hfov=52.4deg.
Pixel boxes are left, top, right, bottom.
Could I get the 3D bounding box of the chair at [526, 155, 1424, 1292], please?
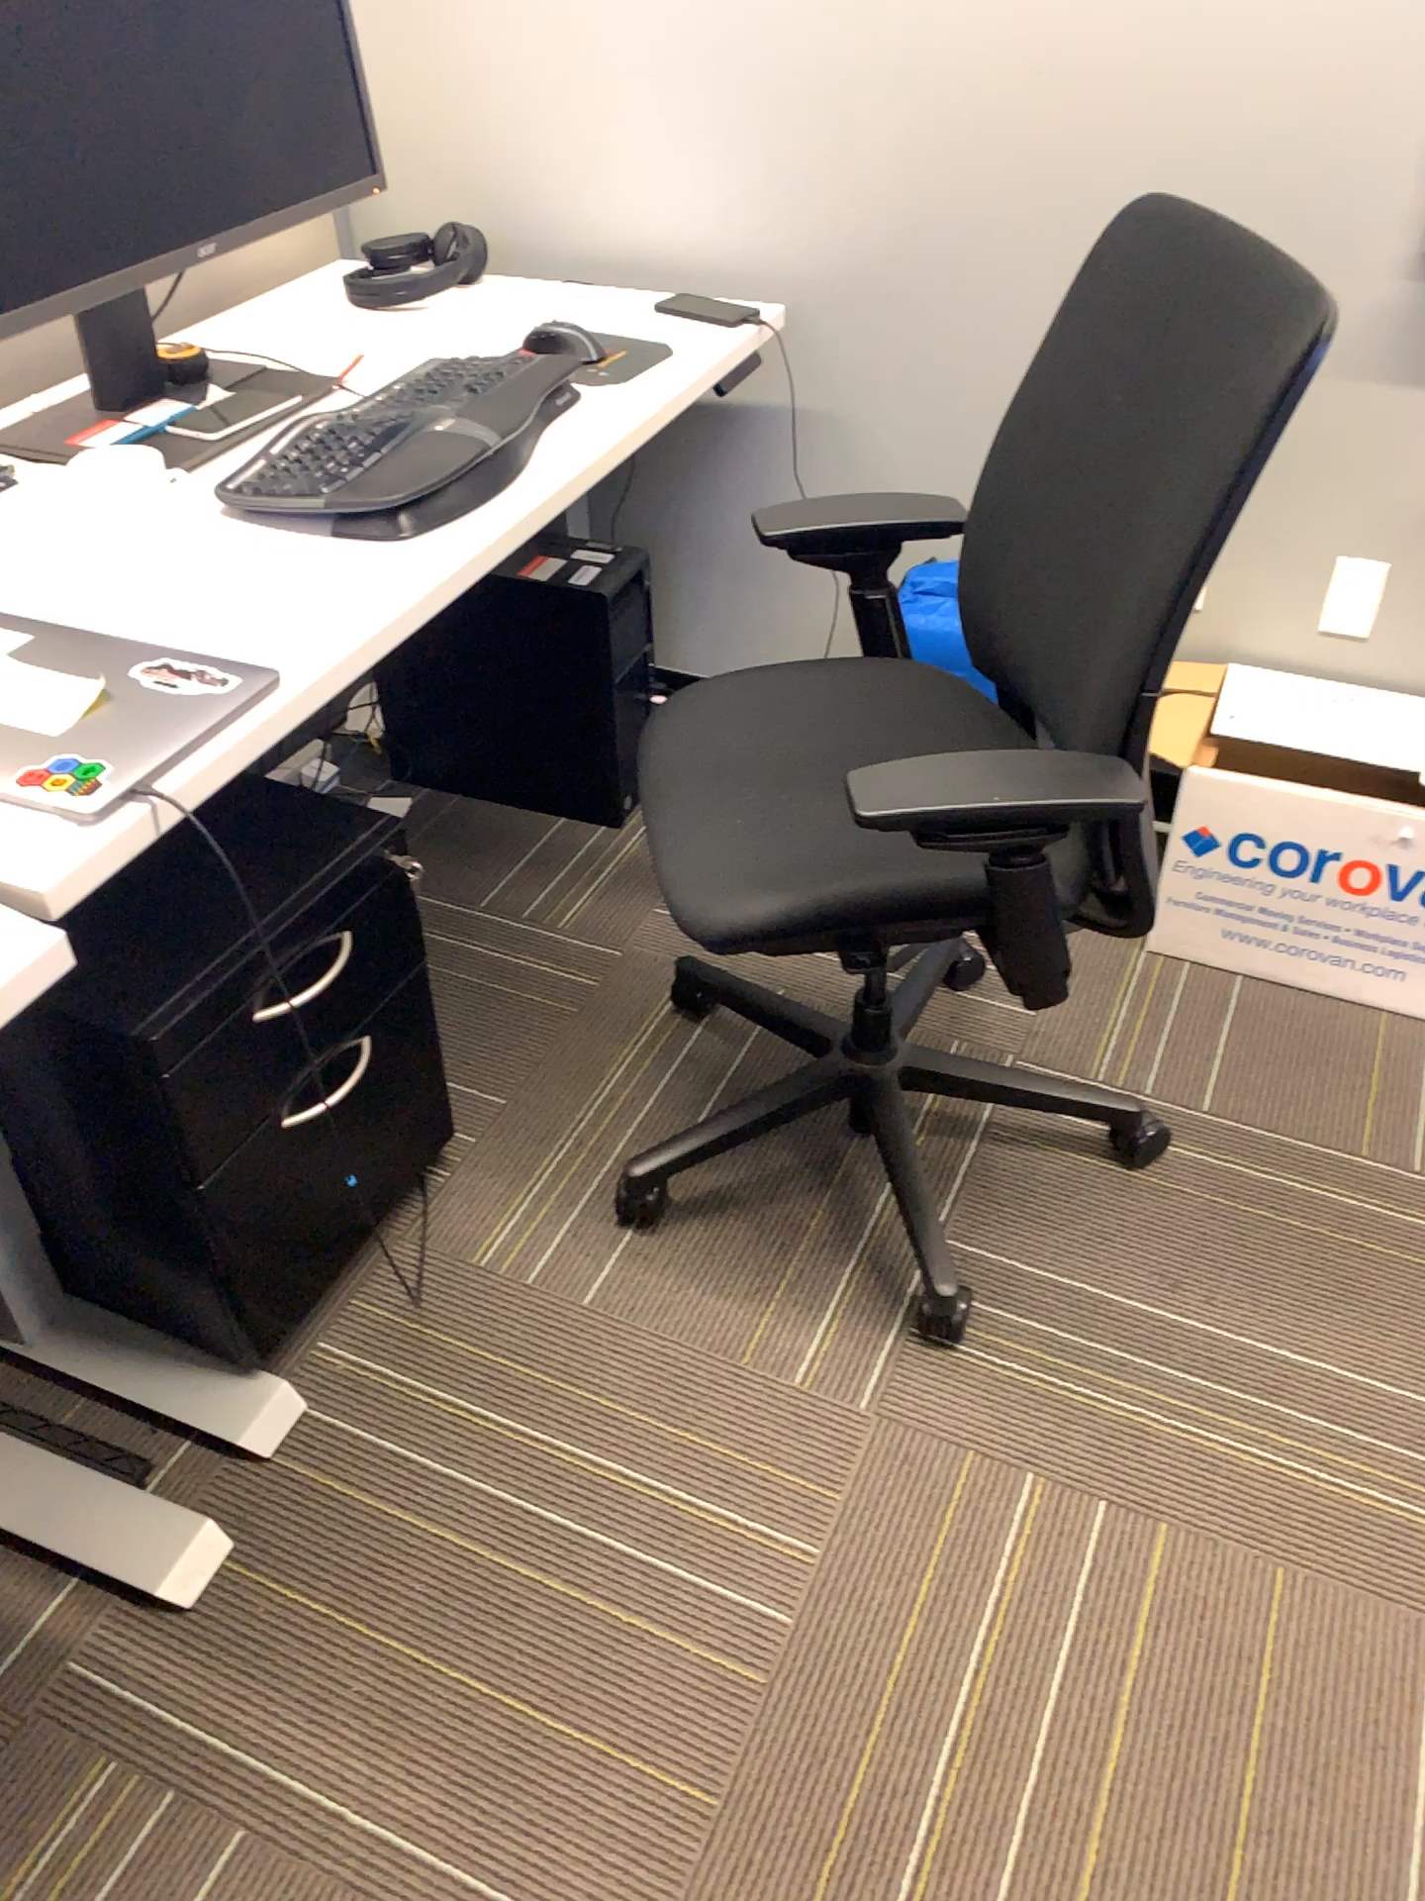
[{"bbox_3d":[0.172,-0.288,1.663,0.610,0.945,0.835,-7,39,-9],"label":"chair"}]
